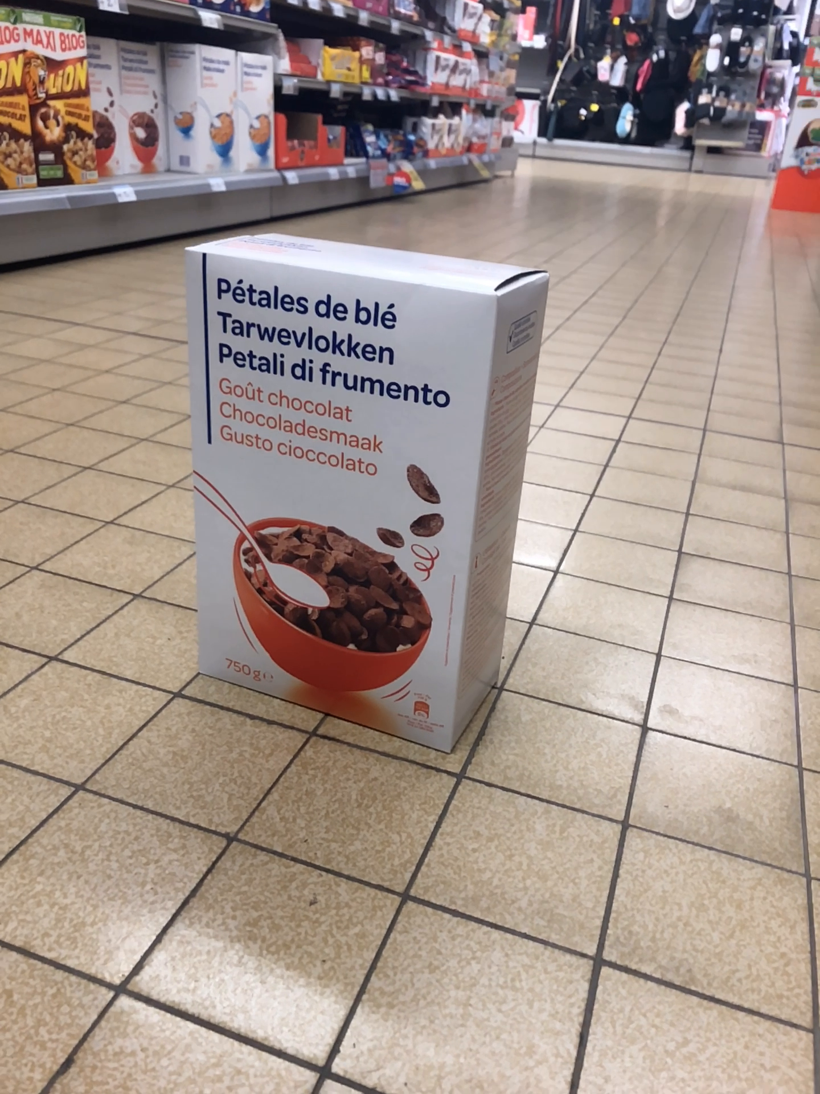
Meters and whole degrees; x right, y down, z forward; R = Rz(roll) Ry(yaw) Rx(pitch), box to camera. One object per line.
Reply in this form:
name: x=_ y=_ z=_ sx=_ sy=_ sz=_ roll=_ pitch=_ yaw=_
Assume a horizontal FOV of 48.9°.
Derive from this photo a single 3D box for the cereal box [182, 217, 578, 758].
cereal box: x=-0.025 y=-0.041 z=0.569 sx=0.200 sy=0.288 sz=0.101 roll=13 pitch=26 yaw=18
